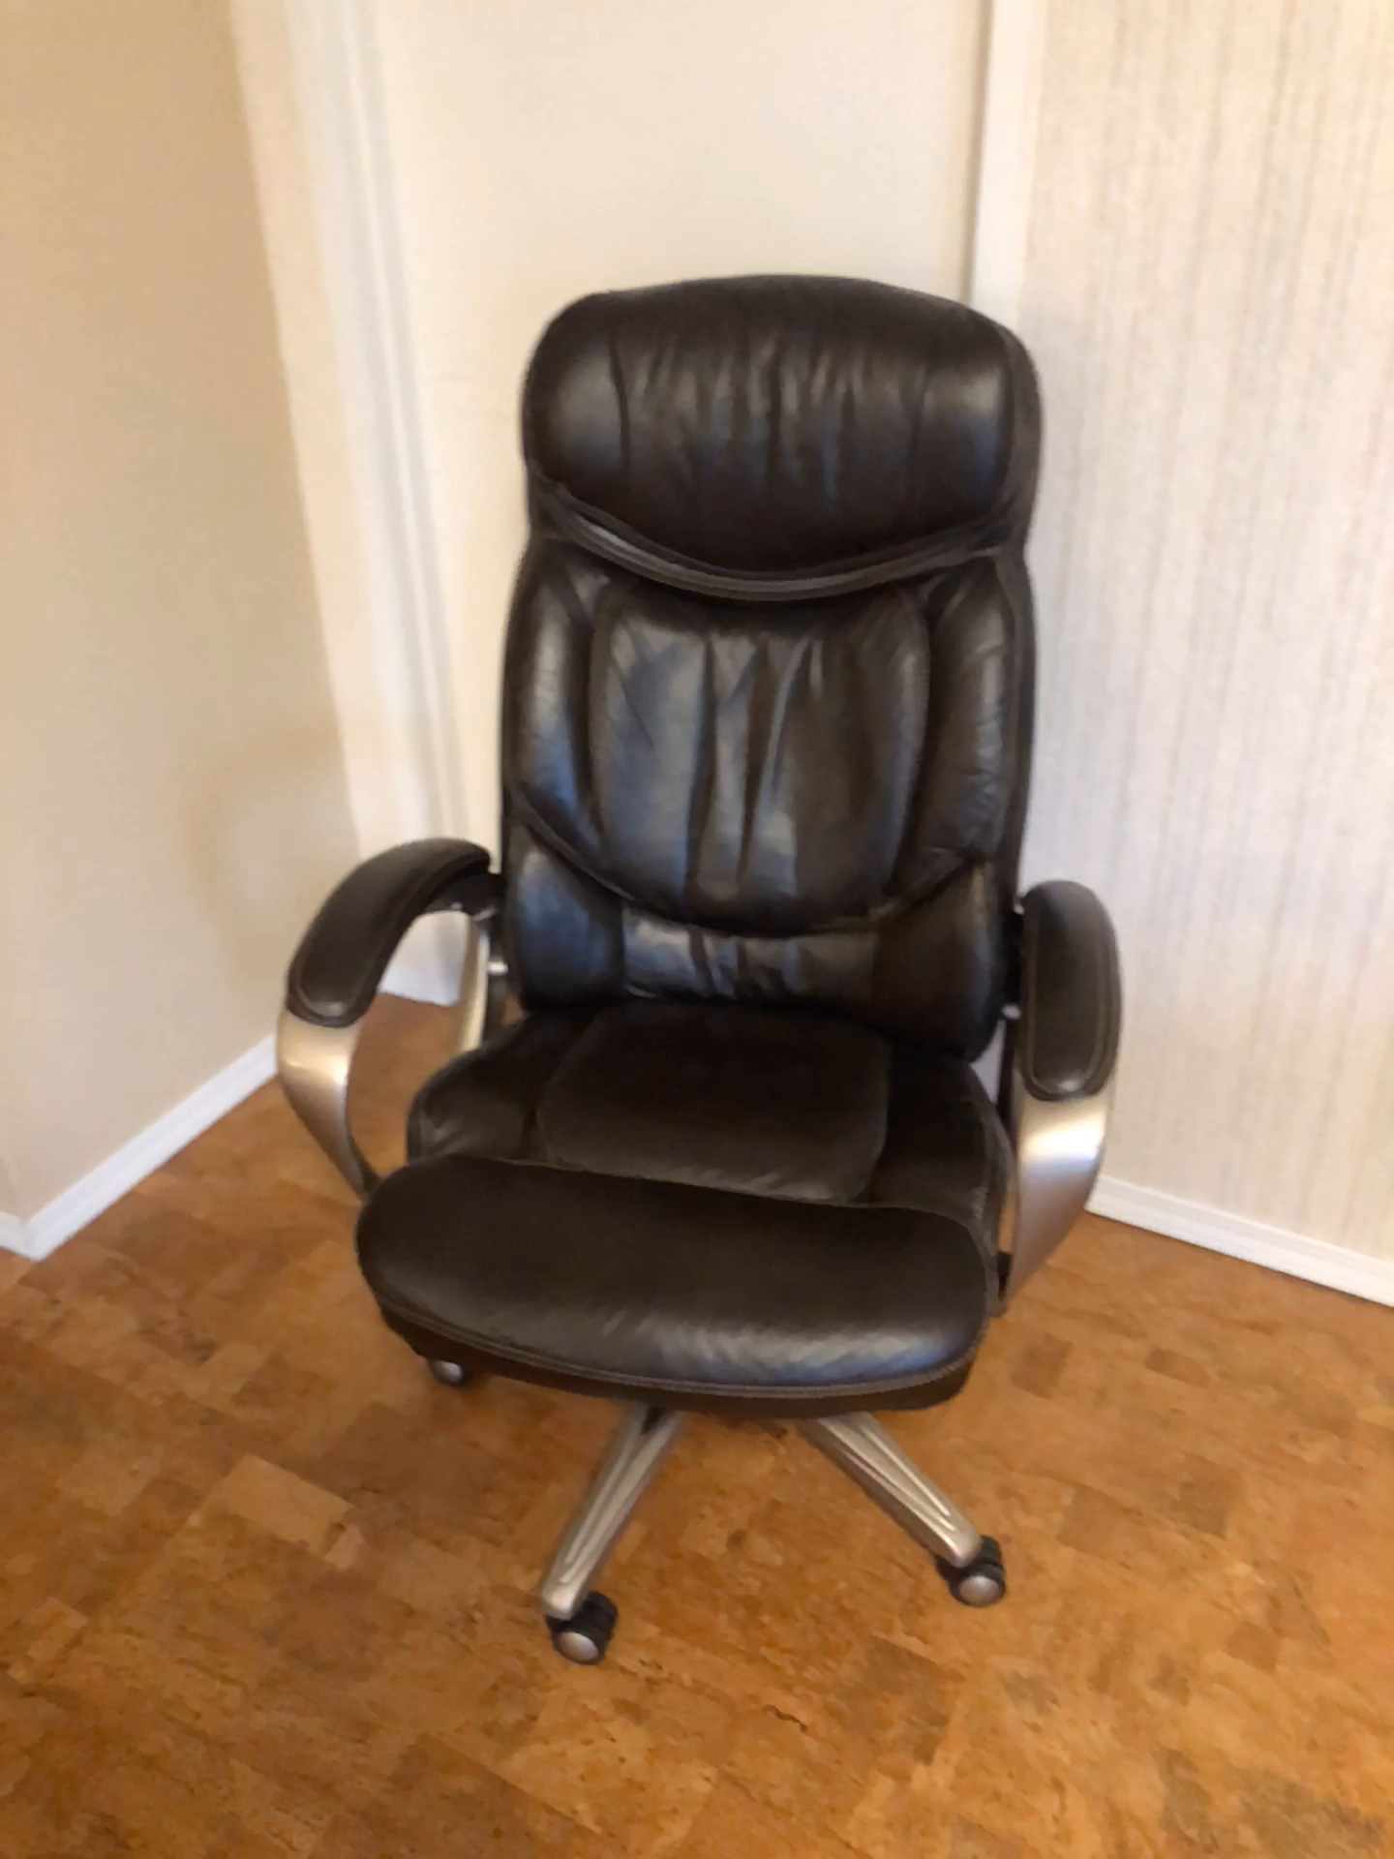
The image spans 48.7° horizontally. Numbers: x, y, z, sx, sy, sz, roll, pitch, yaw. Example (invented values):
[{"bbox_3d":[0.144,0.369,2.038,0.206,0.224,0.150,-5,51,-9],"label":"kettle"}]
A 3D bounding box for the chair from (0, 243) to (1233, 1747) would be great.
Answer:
[{"bbox_3d":[-0.026,0.039,1.343,0.690,1.086,0.652,3,32,8],"label":"chair"}]
